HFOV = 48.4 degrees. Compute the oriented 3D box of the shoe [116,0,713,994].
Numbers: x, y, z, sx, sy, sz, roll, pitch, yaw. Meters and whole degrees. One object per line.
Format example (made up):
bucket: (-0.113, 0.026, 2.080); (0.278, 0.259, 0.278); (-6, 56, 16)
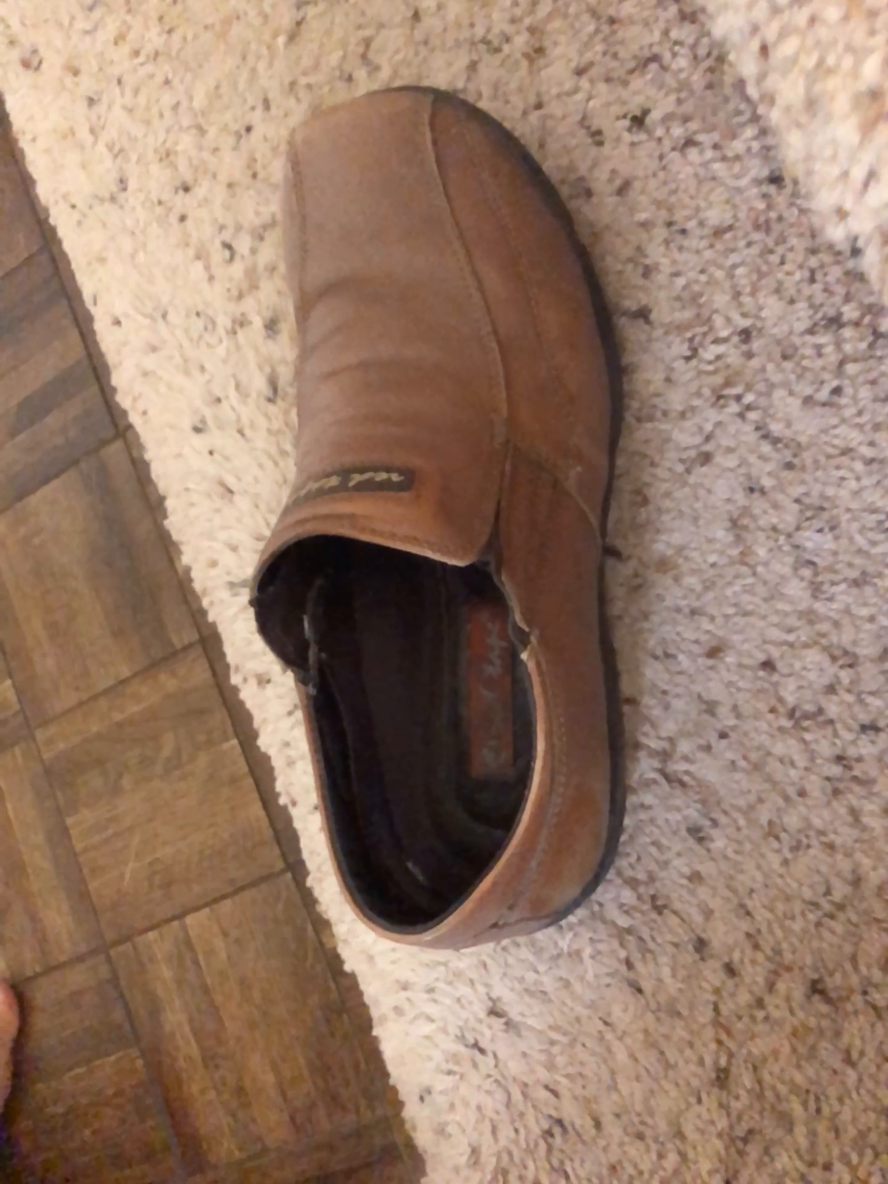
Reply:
shoe: (-0.002, -0.043, 0.311); (0.110, 0.120, 0.290); (-10, 84, 21)
